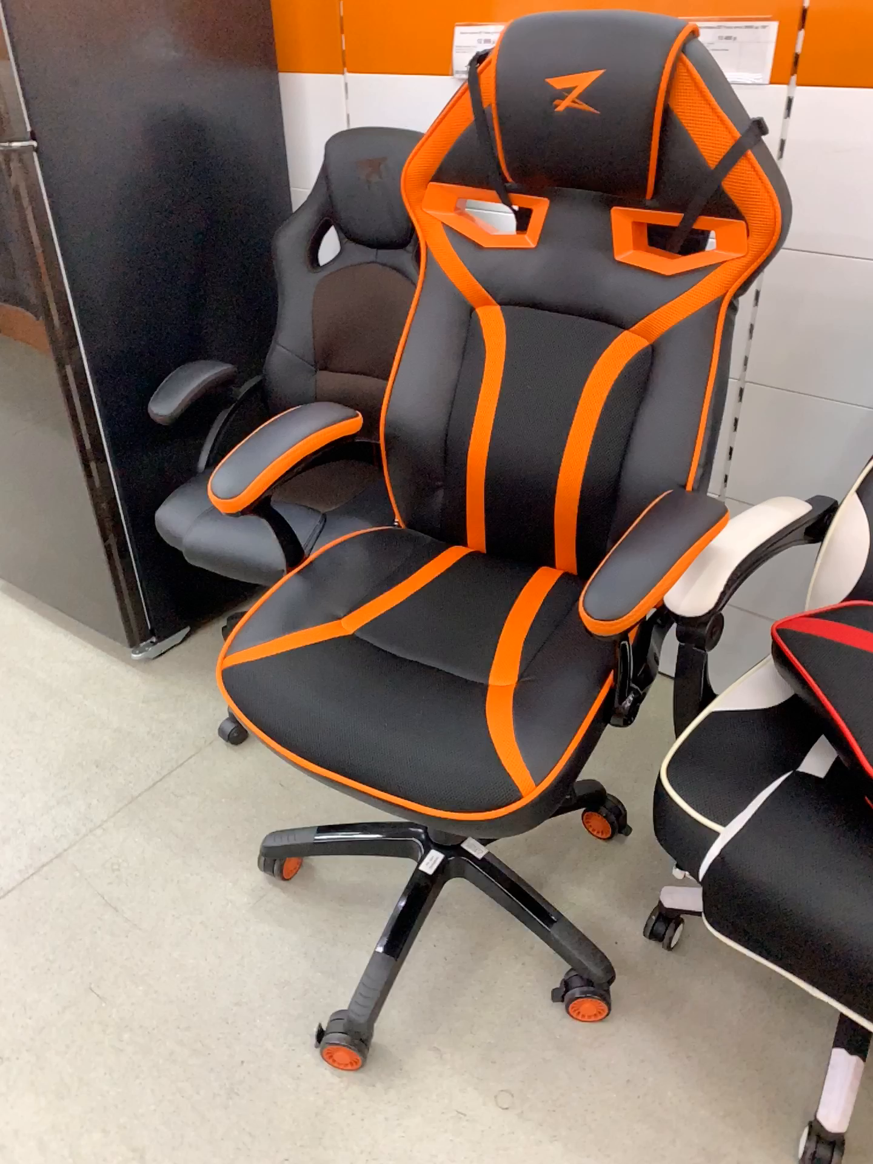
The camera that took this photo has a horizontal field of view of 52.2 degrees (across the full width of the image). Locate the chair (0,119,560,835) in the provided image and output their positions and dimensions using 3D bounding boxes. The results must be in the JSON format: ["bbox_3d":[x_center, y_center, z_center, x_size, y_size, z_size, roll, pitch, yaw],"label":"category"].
[{"bbox_3d":[-0.272,-0.278,2.059,0.821,1.323,0.723,17,37,27],"label":"chair"}]

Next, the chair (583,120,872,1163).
[{"bbox_3d":[0.783,0.139,1.133,0.851,1.193,0.824,17,37,27],"label":"chair"}]

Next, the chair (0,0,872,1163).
[{"bbox_3d":[-0.014,-0.019,1.242,0.721,1.313,0.733,21,39,32],"label":"chair"}]
